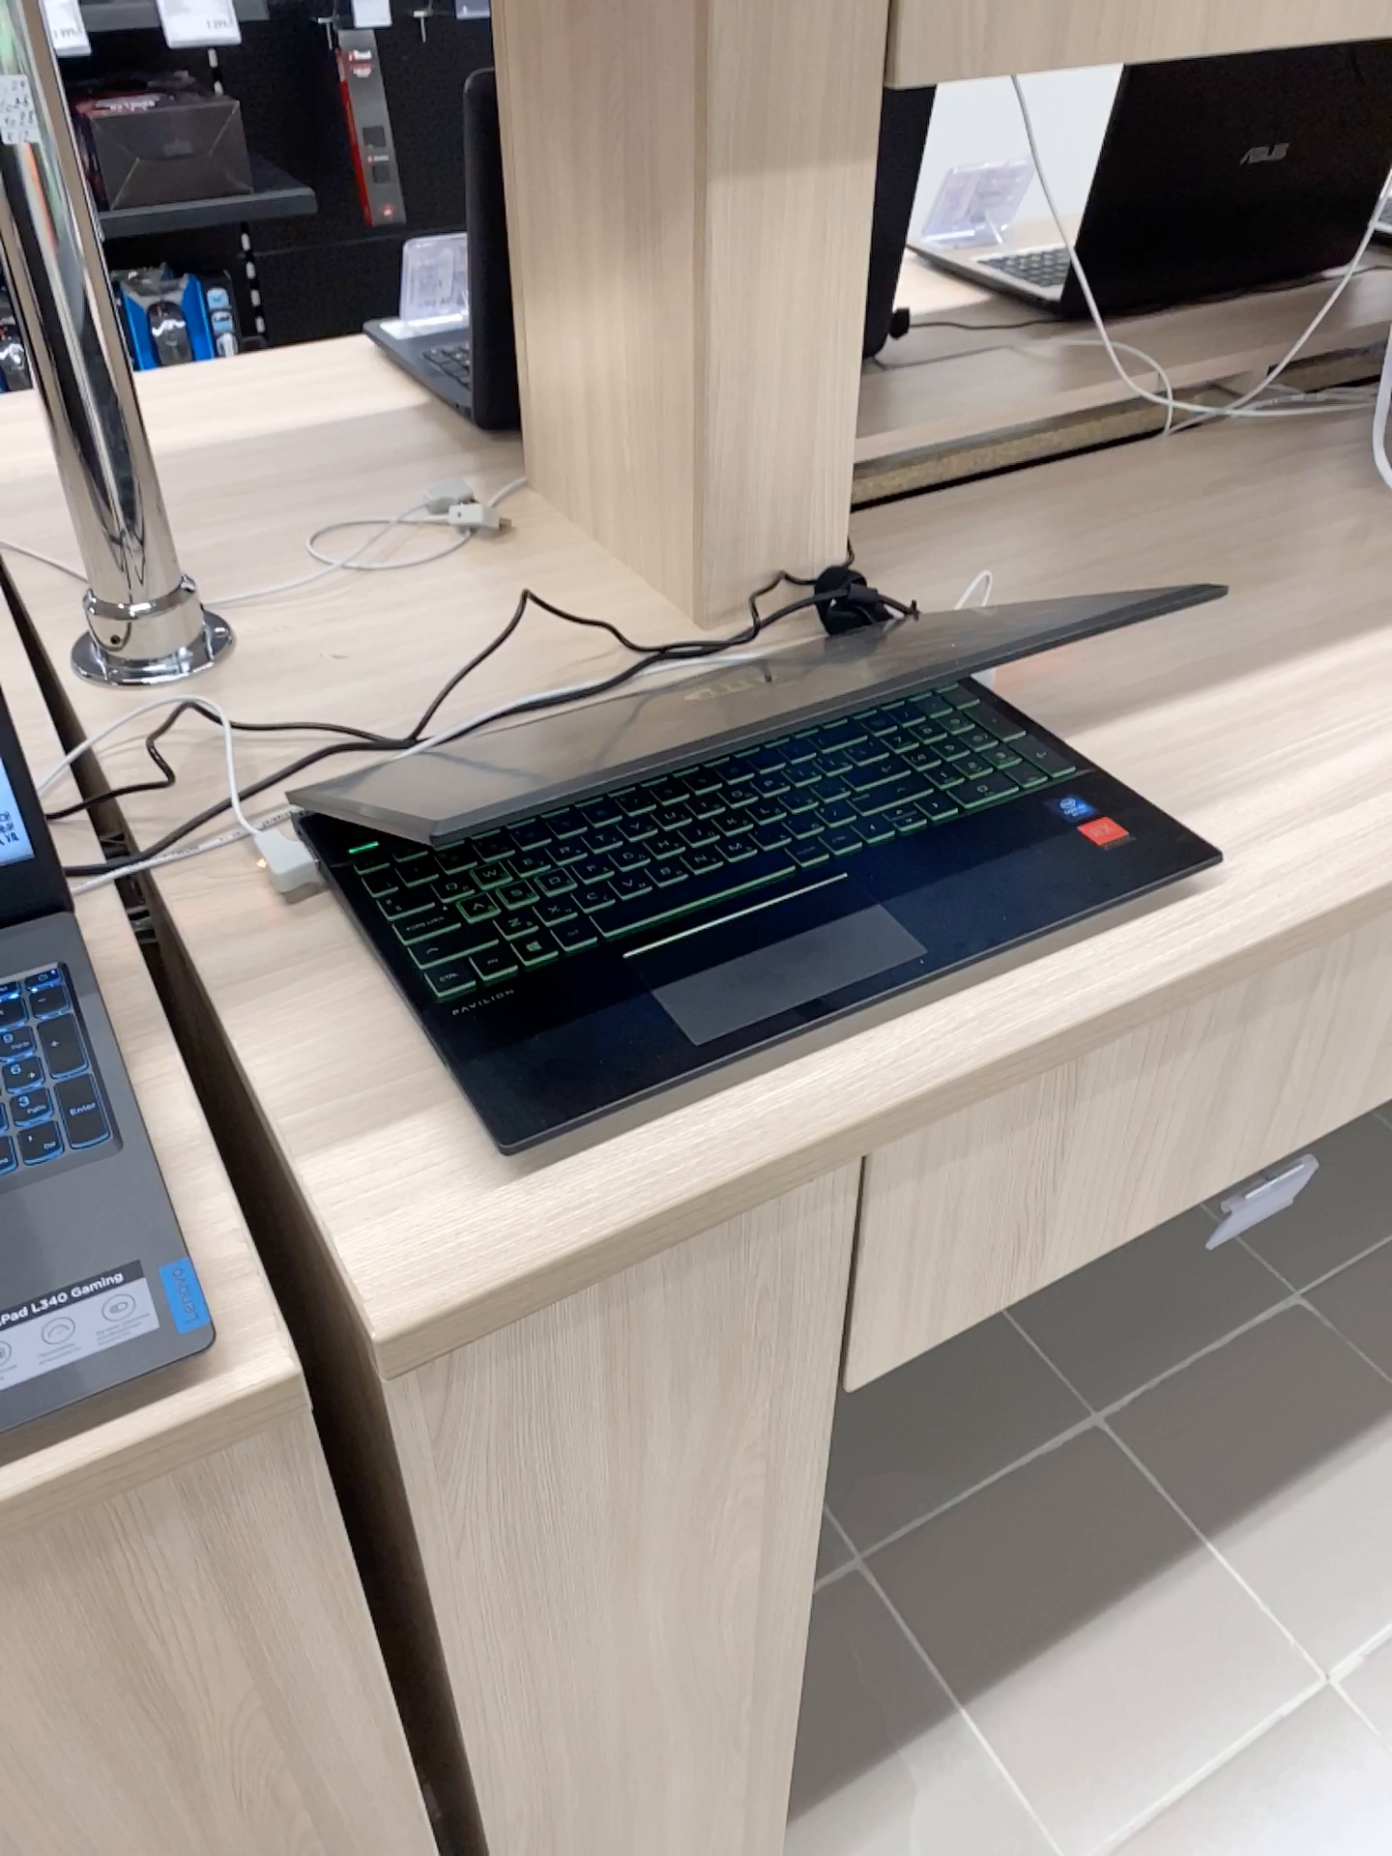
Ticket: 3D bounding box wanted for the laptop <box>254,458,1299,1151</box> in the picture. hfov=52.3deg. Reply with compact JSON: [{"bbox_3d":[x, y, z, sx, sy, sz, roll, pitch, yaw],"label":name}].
[{"bbox_3d":[0.031,-0.083,0.624,0.364,0.108,0.236,-19,43,-23],"label":"laptop"}]
